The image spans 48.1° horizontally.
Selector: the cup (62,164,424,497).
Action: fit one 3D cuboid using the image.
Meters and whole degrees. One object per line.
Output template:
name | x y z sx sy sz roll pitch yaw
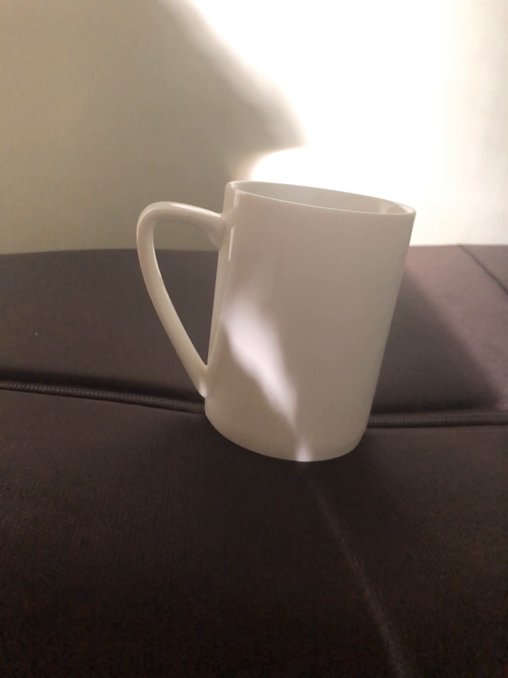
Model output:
cup | 0.000 -0.015 0.227 0.108 0.090 0.097 12 18 10
